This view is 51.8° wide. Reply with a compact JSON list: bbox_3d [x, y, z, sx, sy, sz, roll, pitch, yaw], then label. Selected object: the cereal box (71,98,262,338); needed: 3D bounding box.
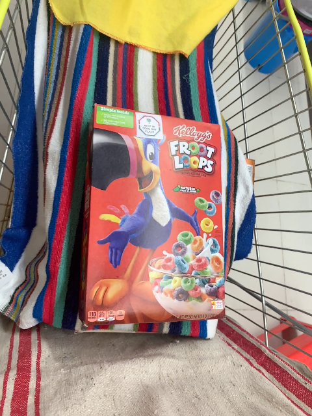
[{"bbox_3d":[0.014,0.014,0.392,0.210,0.060,0.250,4,78,-18],"label":"cereal box"}]
